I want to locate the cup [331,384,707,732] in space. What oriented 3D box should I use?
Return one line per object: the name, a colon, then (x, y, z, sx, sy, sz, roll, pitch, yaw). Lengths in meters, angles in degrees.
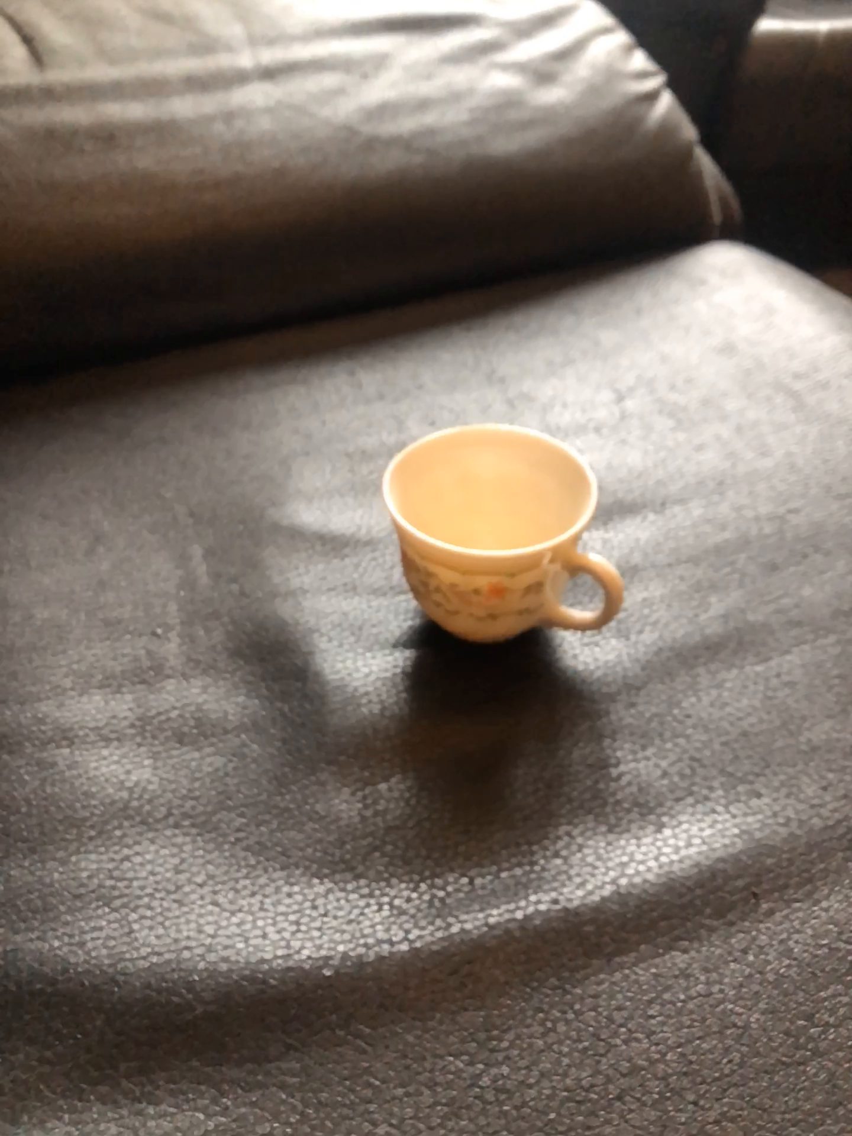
cup: (0.027, -0.008, 0.288, 0.084, 0.050, 0.069, 25, 45, 27)
